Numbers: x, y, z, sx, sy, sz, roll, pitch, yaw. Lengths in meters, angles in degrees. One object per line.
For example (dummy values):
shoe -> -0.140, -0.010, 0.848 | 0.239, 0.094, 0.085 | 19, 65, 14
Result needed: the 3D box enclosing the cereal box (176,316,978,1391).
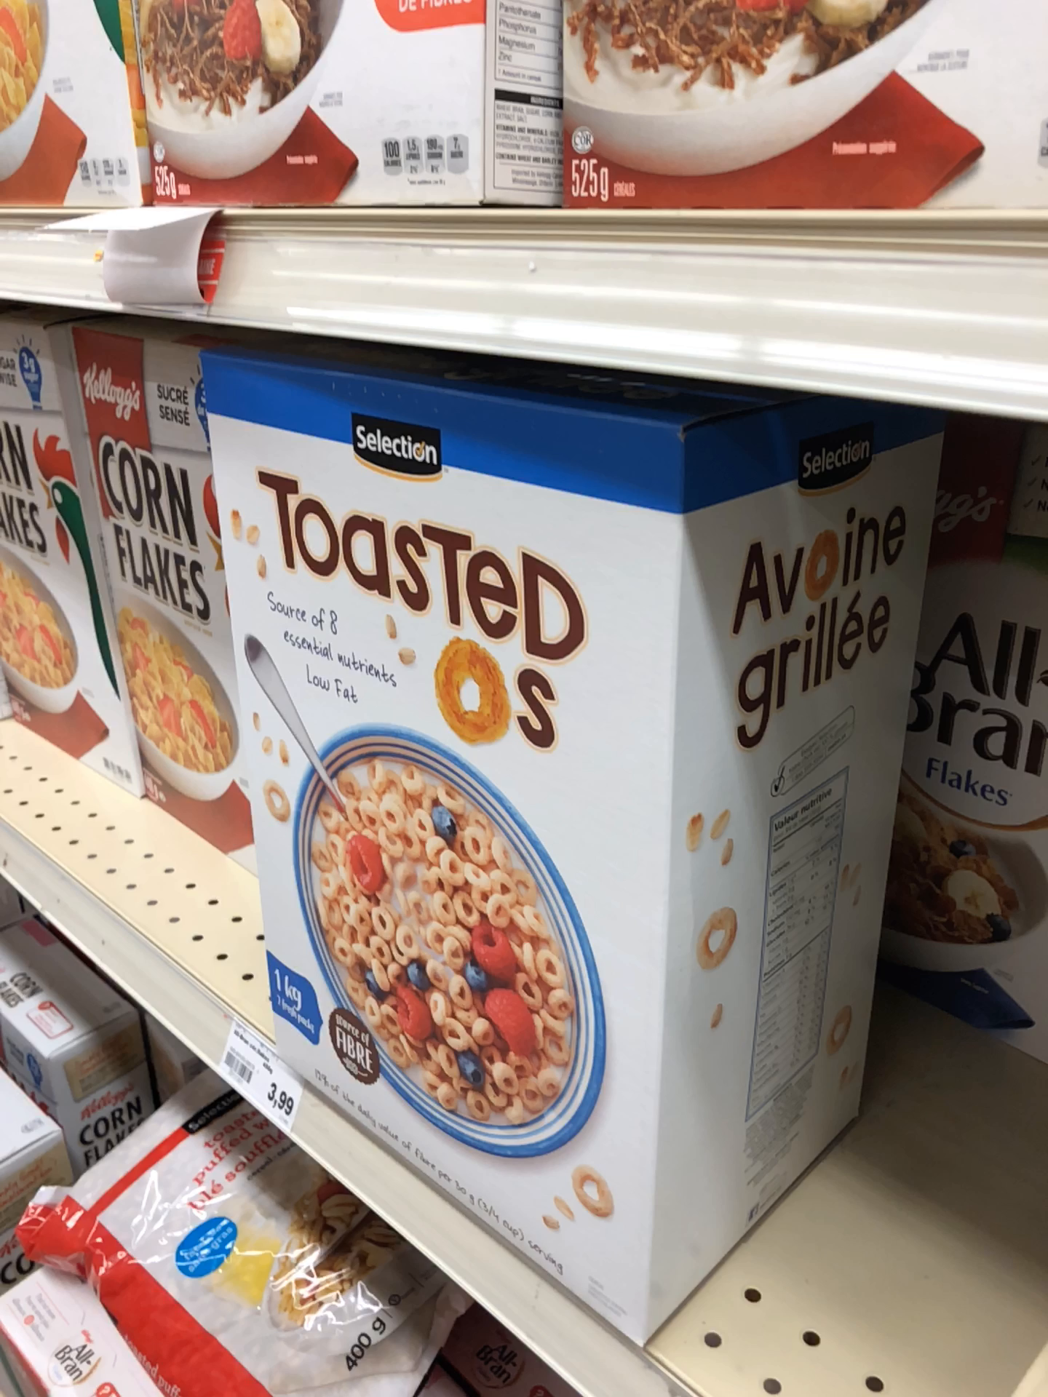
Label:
cereal box -> 0.010, 0.031, 0.475 | 0.241, 0.338, 0.161 | 20, 29, 40
